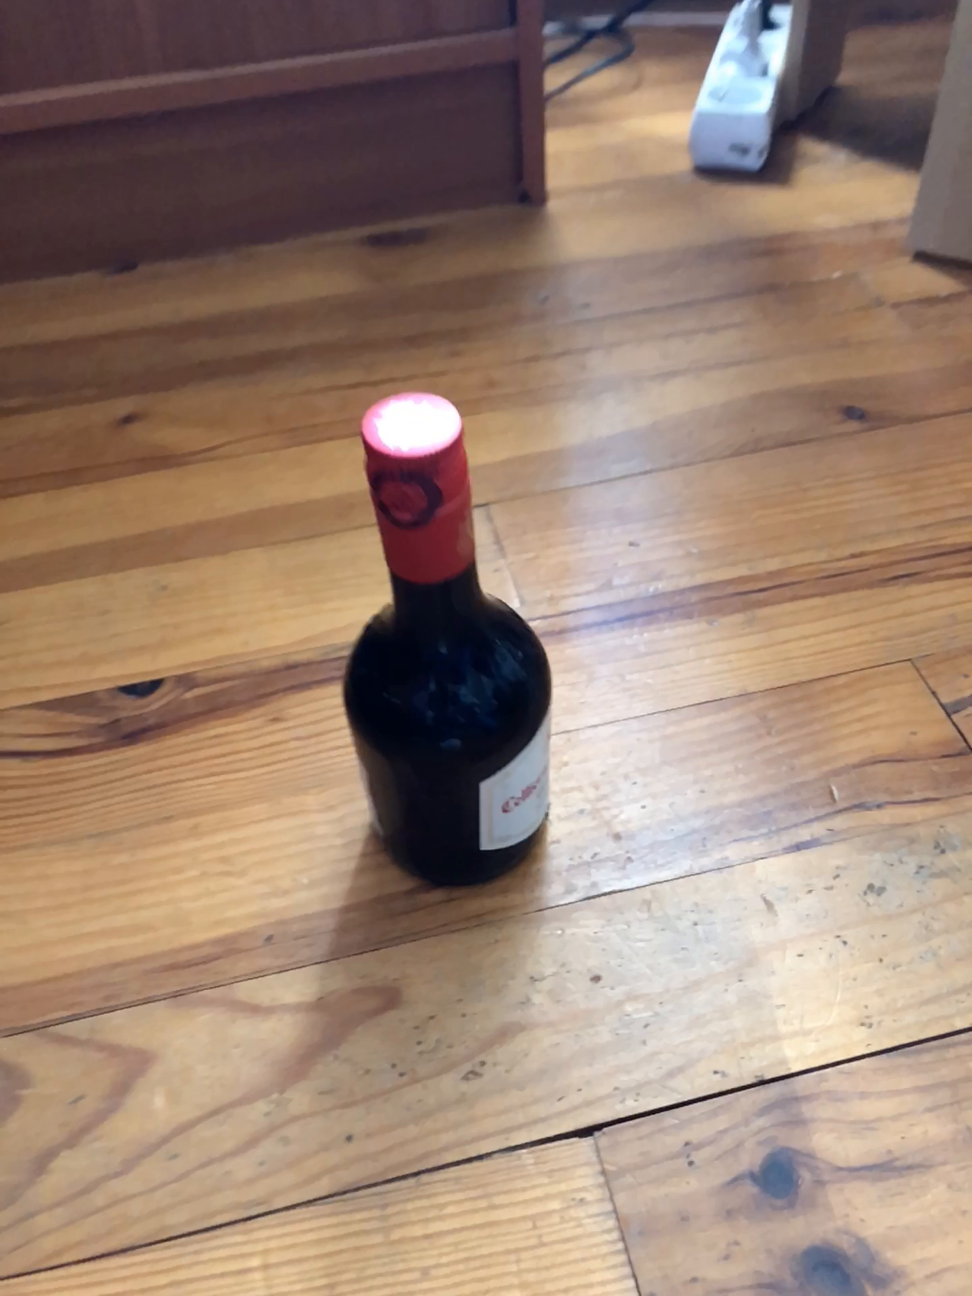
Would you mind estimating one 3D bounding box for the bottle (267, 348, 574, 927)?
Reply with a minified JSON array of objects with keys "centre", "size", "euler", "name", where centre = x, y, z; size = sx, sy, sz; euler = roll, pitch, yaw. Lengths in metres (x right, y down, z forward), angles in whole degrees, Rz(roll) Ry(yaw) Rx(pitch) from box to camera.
[{"centre":[-0.009,0.006,0.322],"size":[0.060,0.169,0.070],"euler":[6,47,10],"name":"bottle"}]
